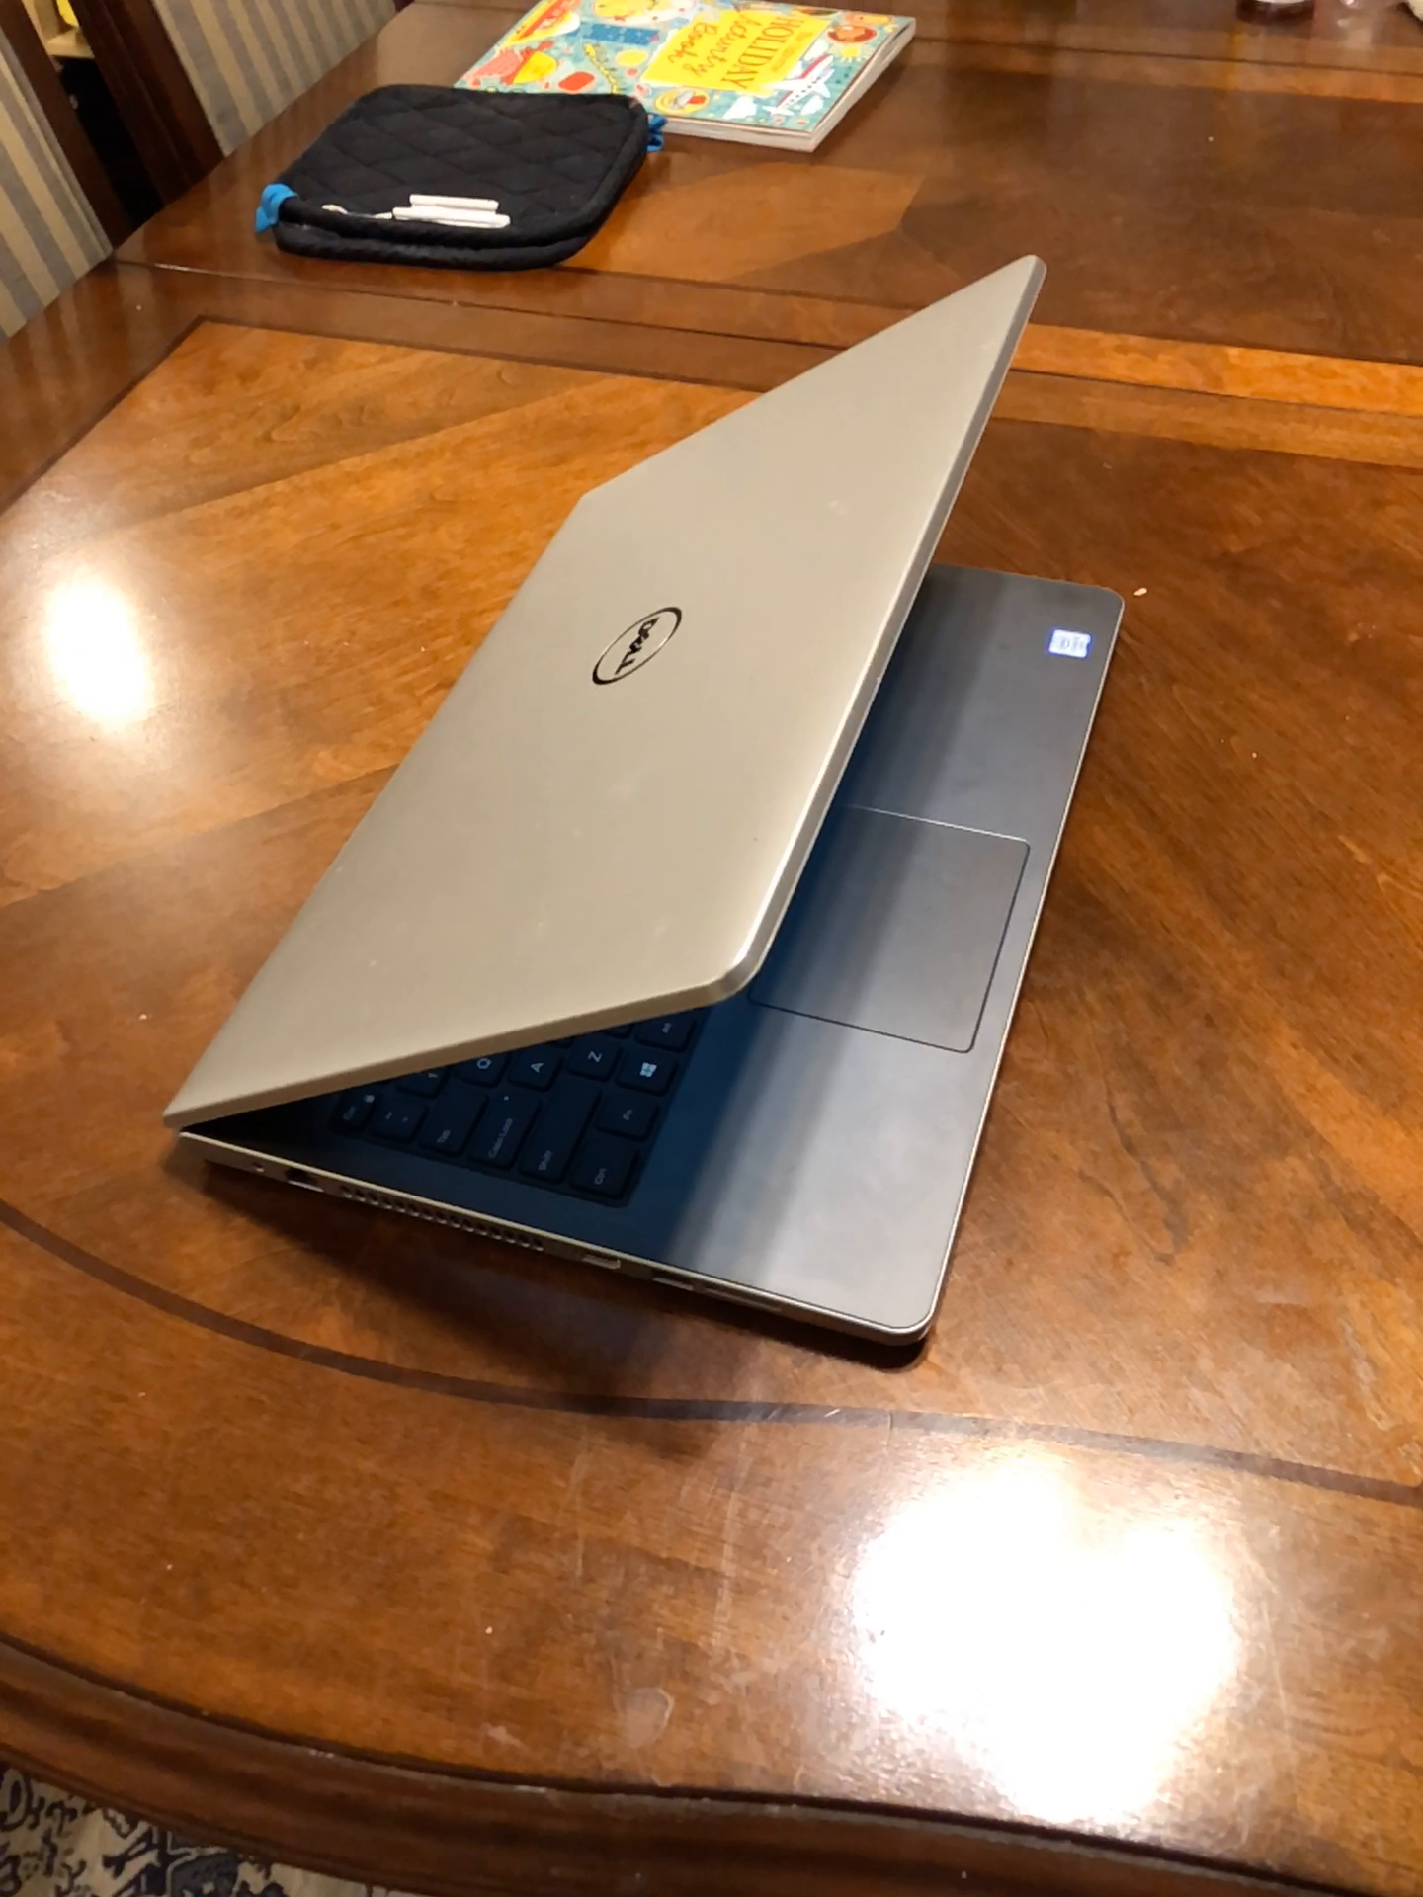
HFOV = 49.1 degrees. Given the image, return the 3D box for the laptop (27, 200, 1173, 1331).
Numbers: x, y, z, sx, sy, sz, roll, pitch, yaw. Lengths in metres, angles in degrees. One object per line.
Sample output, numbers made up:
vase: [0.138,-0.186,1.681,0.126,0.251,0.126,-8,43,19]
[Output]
laptop: [-0.003,-0.094,0.546,0.245,0.147,0.365,13,52,14]
